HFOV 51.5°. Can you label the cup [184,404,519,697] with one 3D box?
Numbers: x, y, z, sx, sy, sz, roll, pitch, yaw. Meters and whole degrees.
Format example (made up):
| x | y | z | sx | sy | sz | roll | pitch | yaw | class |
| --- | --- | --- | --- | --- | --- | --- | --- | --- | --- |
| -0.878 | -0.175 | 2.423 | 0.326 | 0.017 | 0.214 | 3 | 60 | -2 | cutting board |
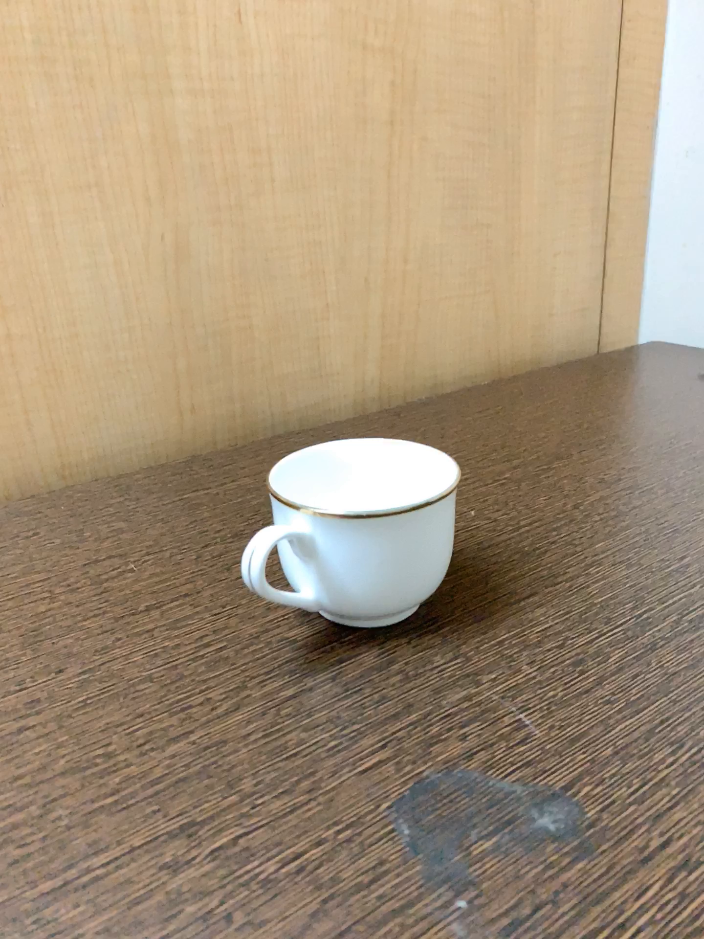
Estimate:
| x | y | z | sx | sy | sz | roll | pitch | yaw | class |
| --- | --- | --- | --- | --- | --- | --- | --- | --- | --- |
| 0.003 | 0.018 | 0.237 | 0.060 | 0.050 | 0.090 | 17 | 28 | 40 | cup |
